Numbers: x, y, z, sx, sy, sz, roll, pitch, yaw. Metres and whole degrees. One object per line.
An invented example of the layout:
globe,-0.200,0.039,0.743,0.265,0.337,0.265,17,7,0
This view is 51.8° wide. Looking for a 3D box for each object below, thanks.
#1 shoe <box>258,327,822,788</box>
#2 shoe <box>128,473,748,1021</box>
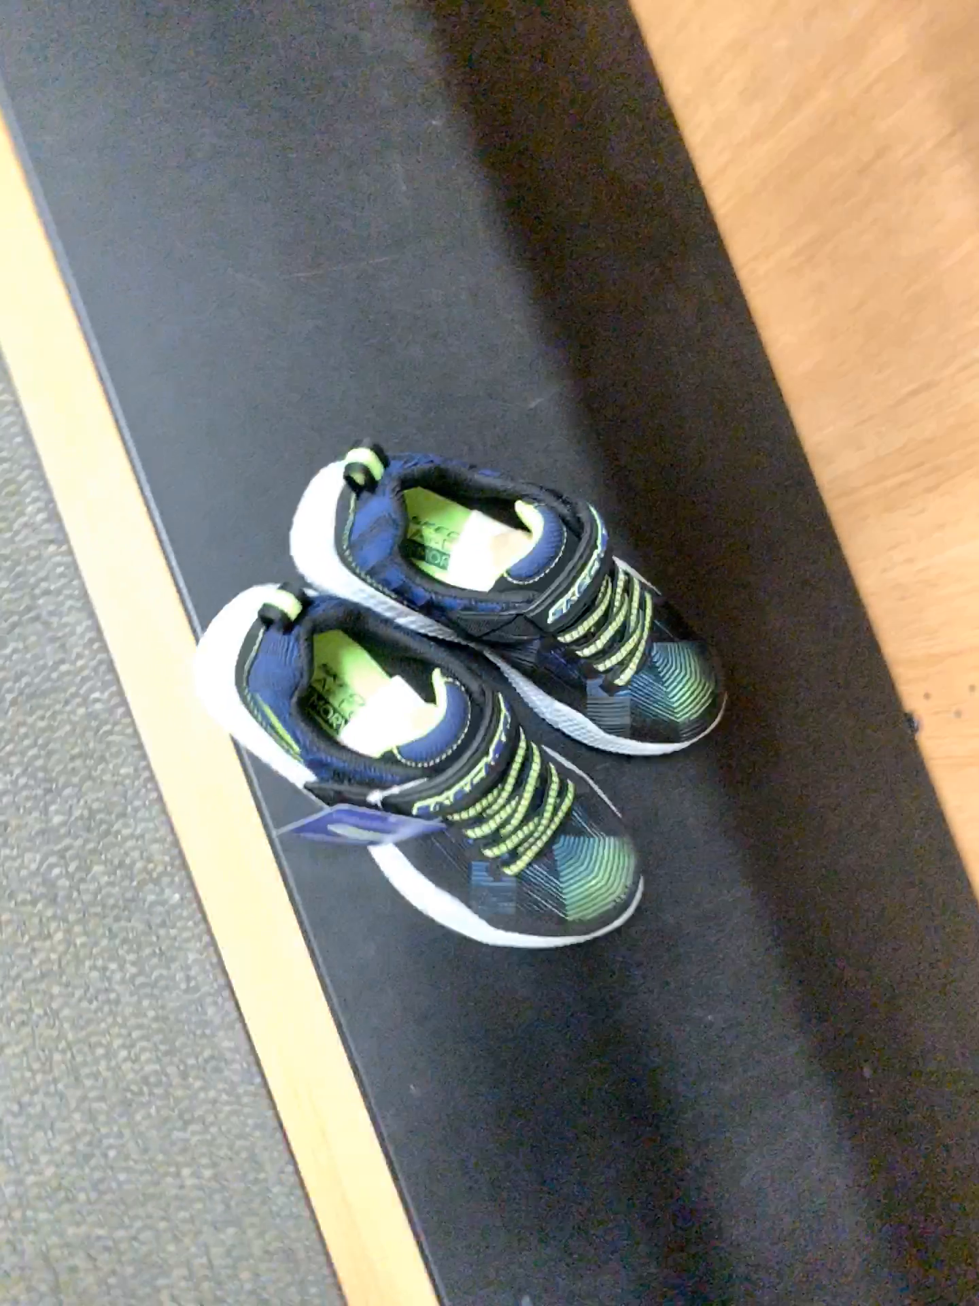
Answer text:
shoe,0.022,-0.030,0.462,0.220,0.100,0.092,29,71,-14
shoe,-0.023,0.045,0.420,0.220,0.100,0.098,36,70,-12
